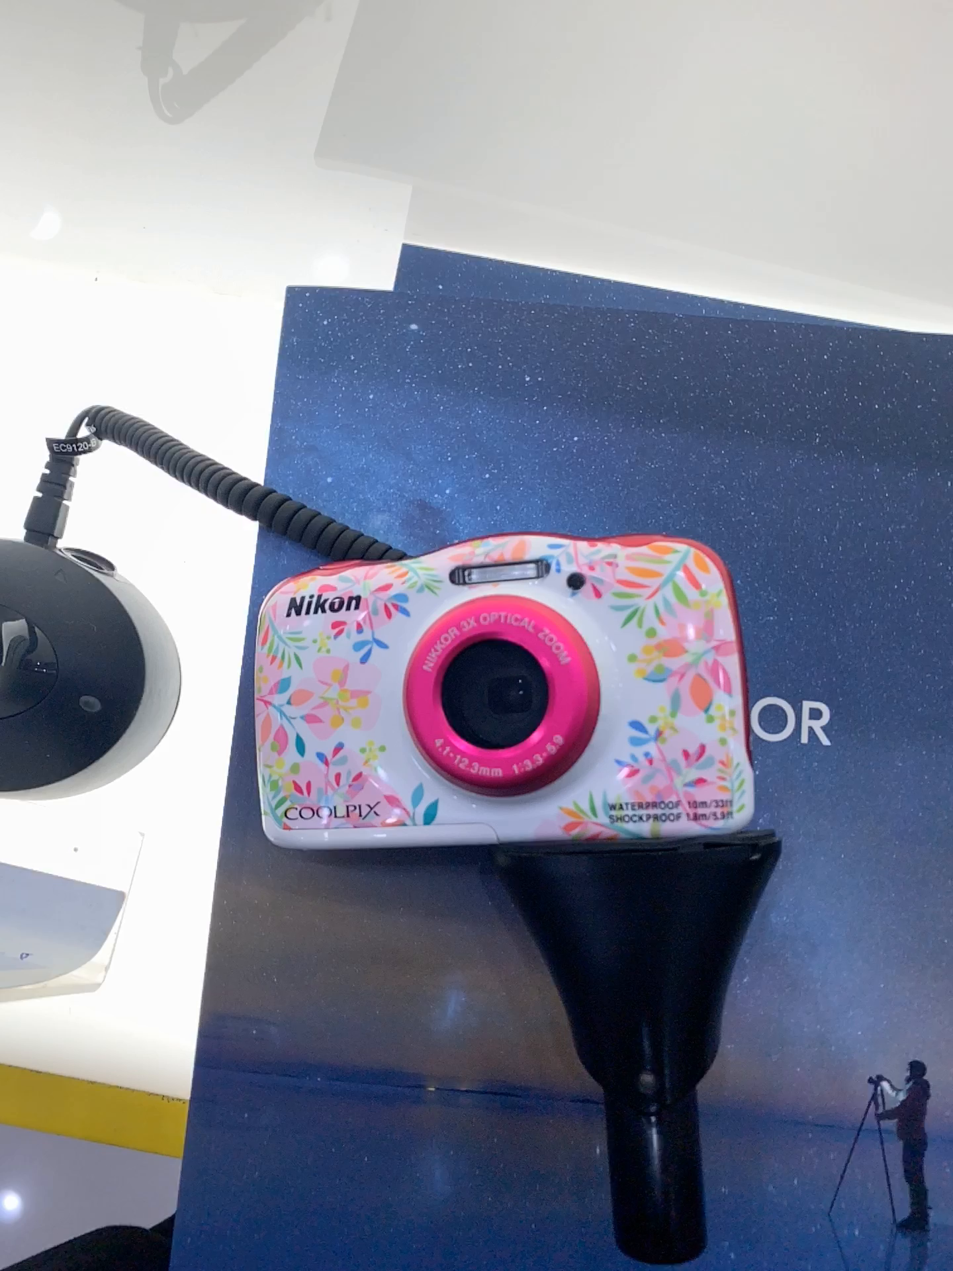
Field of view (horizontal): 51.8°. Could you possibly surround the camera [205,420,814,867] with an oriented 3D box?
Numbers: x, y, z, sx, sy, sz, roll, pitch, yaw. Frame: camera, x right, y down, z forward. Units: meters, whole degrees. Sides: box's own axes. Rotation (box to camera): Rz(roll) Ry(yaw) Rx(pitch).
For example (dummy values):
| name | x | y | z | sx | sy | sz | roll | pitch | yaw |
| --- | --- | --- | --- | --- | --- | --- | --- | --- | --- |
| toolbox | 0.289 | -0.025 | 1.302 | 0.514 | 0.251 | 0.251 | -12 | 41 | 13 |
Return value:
| name | x | y | z | sx | sy | sz | roll | pitch | yaw |
| --- | --- | --- | --- | --- | --- | --- | --- | --- | --- |
| camera | 0.004 | 0.004 | 0.207 | 0.110 | 0.040 | 0.080 | -4 | 75 | 1 |
